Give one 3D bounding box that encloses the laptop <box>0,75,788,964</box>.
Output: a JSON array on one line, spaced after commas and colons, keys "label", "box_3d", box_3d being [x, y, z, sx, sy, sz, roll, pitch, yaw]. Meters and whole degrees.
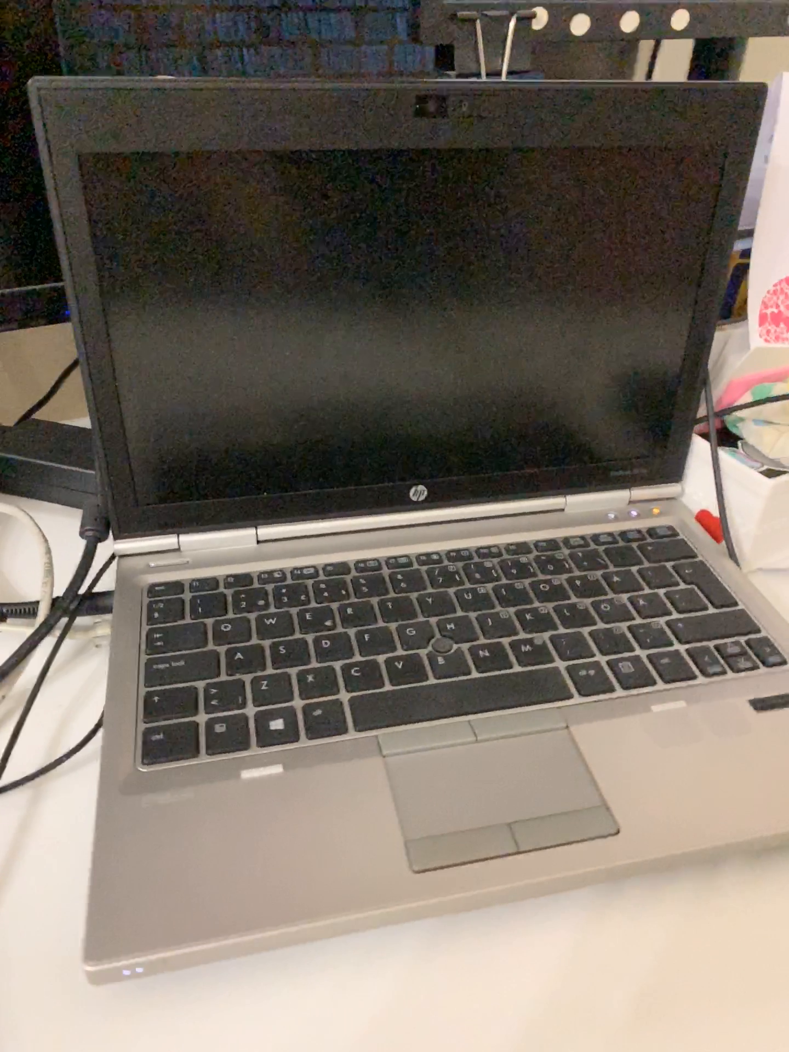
[{"label": "laptop", "box_3d": [0.033, -0.035, 0.305, 0.303, 0.205, 0.225, -6, 36, -11]}]
